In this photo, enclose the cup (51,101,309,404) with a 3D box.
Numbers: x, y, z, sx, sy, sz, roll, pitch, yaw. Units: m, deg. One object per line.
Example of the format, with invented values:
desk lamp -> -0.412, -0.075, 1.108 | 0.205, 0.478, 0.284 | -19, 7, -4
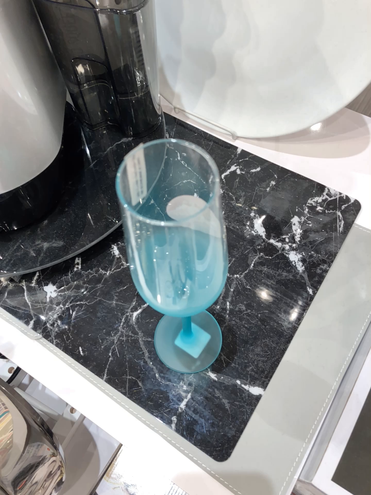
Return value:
cup -> -0.001, 0.034, 0.263 | 0.070, 0.240, 0.070 | -1, 63, 1
